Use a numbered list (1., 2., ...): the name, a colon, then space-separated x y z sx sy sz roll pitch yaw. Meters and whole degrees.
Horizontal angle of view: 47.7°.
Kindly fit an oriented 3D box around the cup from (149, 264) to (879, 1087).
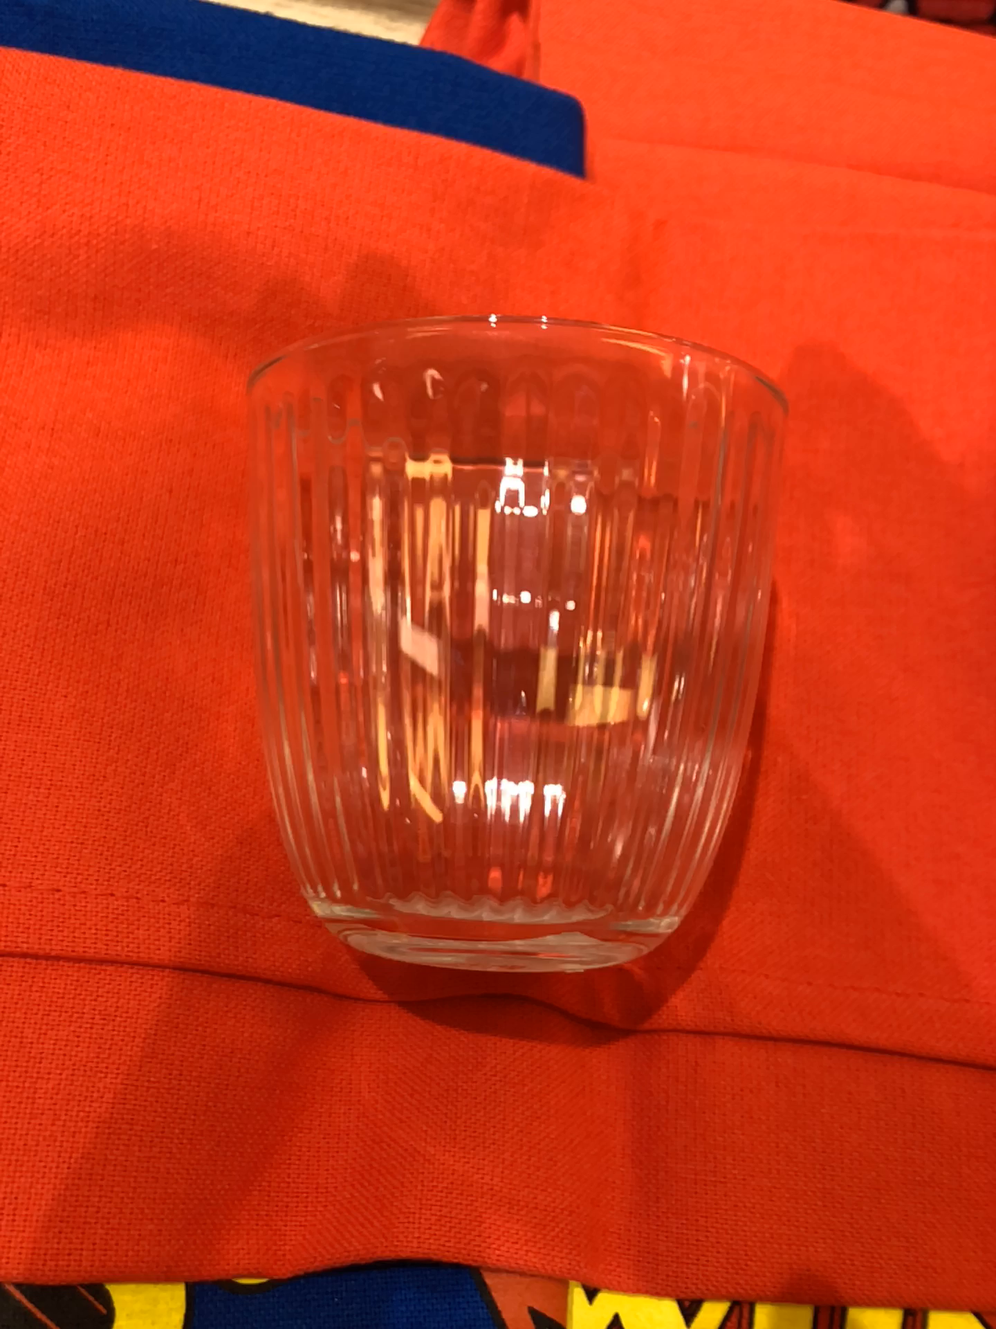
1. cup: -0.001 0.004 0.160 0.080 0.060 0.090 4 89 -10
